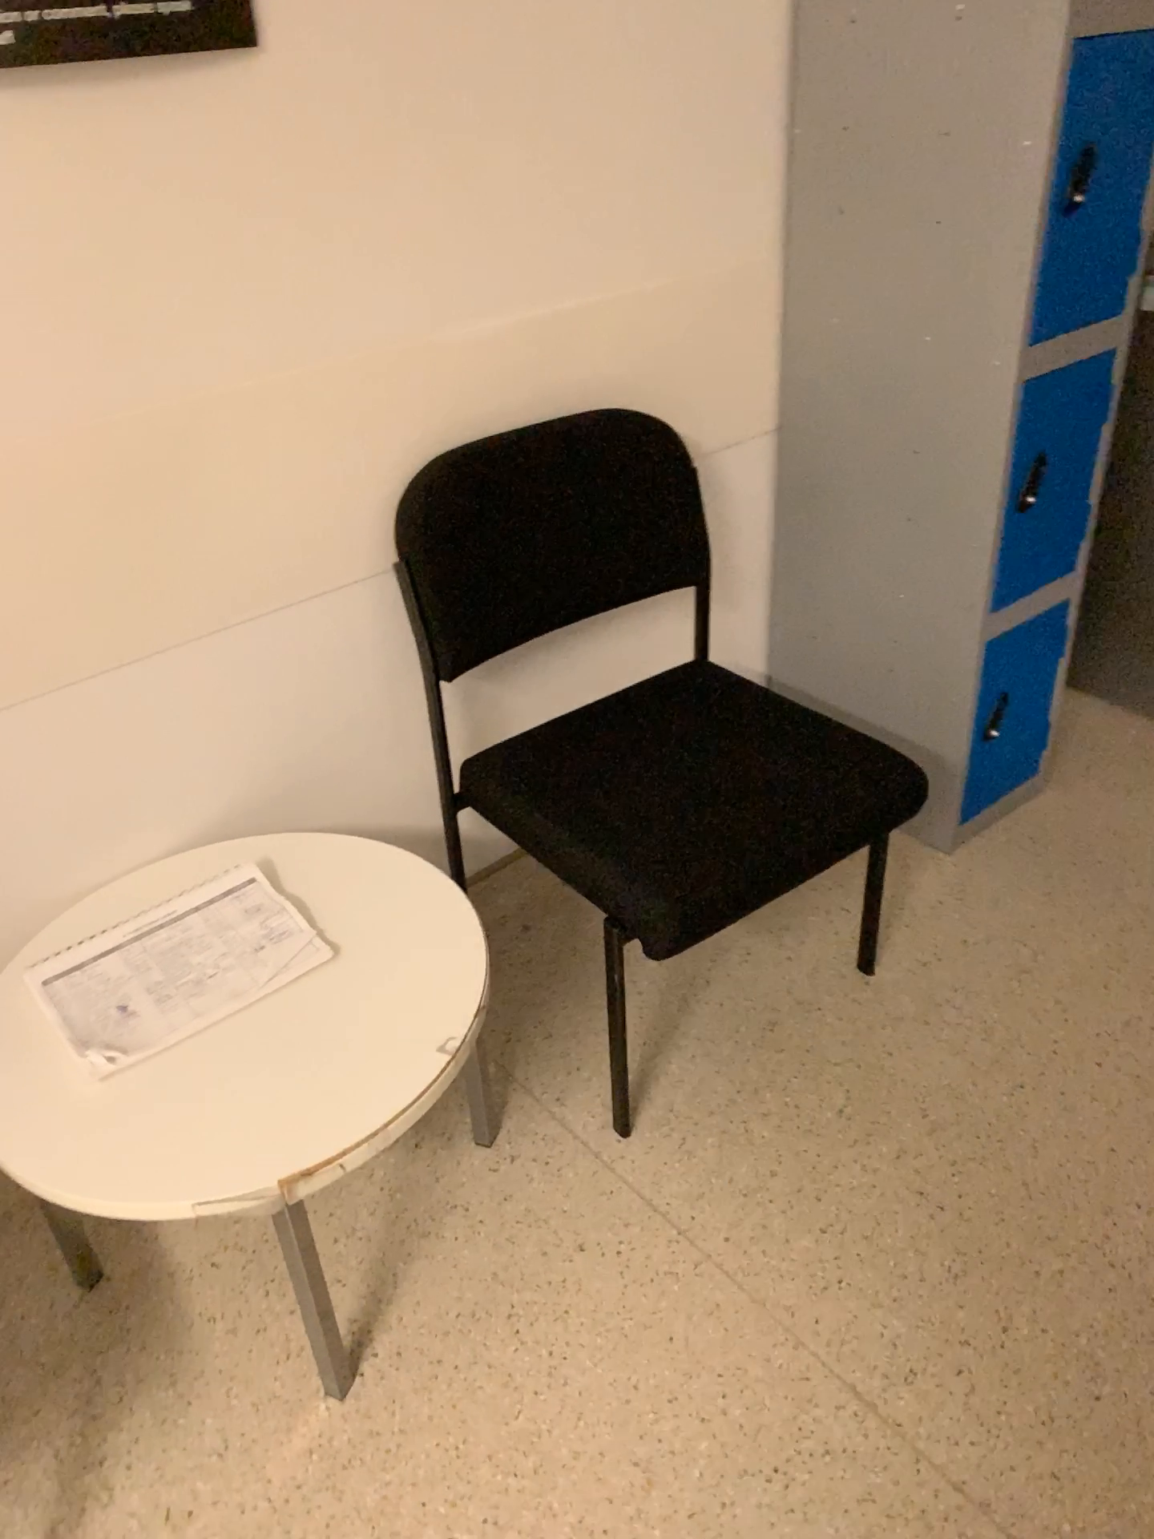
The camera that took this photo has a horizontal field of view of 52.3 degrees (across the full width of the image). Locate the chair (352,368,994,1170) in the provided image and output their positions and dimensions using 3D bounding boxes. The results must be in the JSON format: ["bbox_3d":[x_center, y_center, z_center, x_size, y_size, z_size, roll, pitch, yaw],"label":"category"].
[{"bbox_3d":[0.120,-0.036,1.643,0.551,0.824,0.553,-23,37,-28],"label":"chair"}]
